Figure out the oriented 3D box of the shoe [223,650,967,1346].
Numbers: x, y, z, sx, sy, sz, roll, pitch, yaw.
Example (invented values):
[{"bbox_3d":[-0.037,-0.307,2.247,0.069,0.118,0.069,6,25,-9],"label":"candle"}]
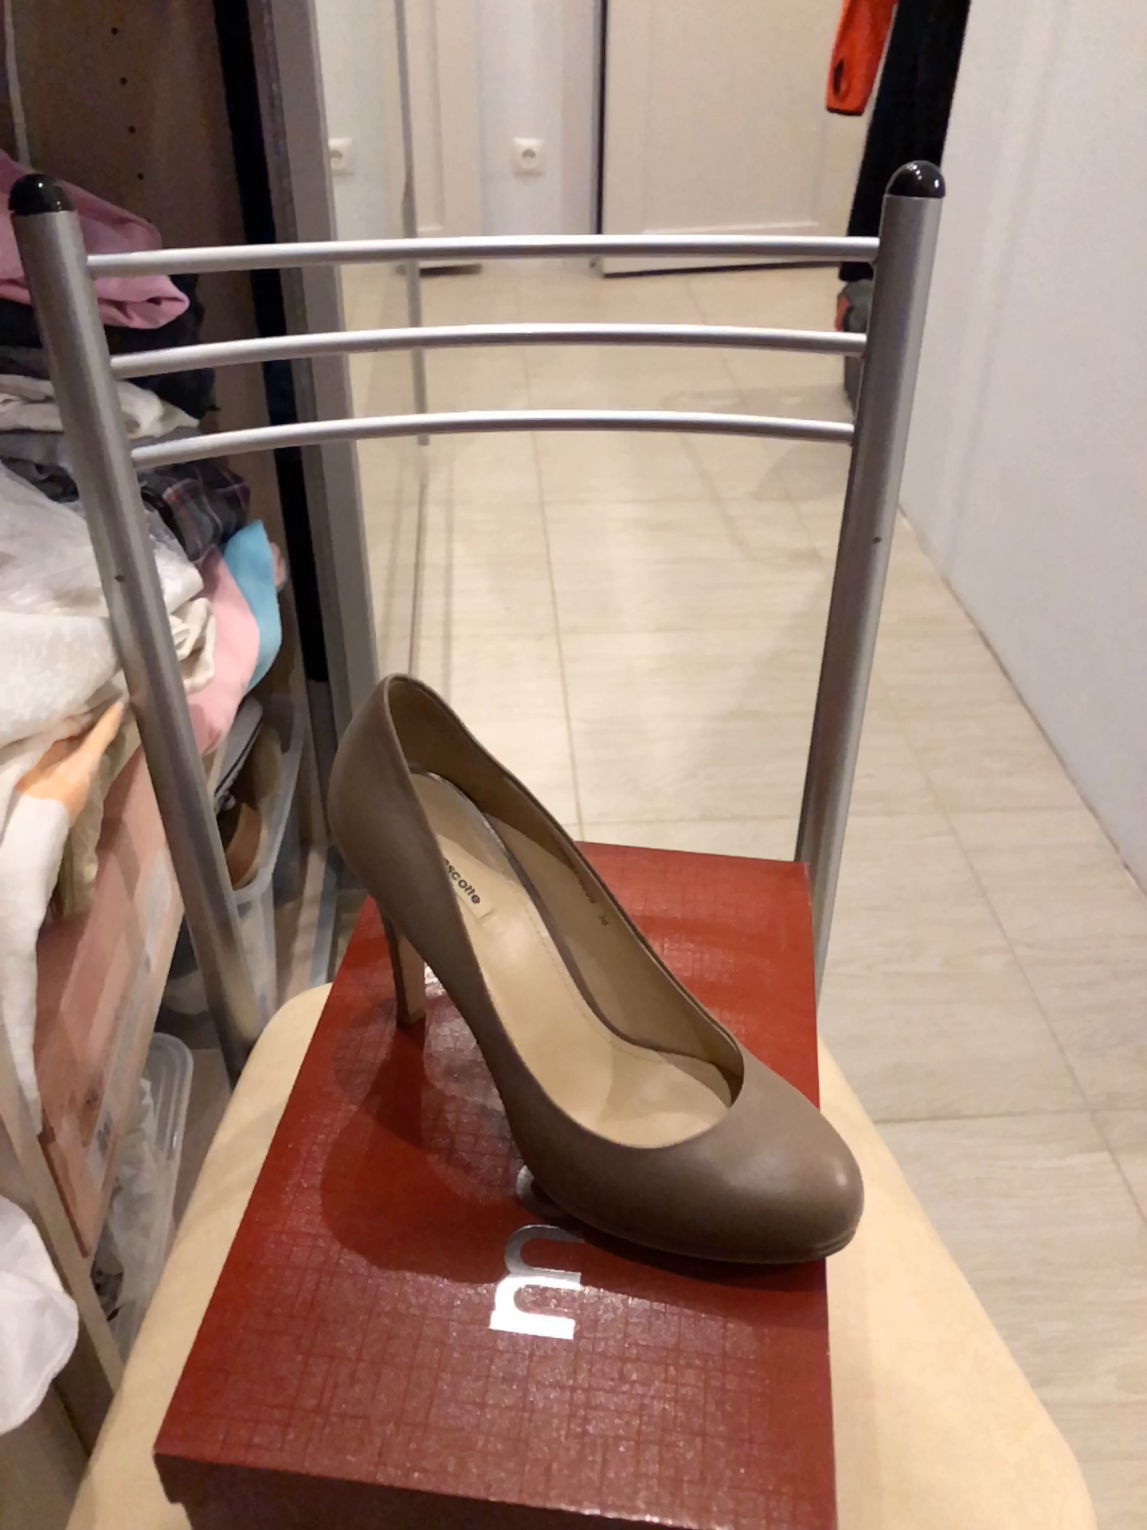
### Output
[{"bbox_3d":[0.002,0.071,0.428,0.215,0.145,0.084,19,40,24],"label":"shoe"}]
